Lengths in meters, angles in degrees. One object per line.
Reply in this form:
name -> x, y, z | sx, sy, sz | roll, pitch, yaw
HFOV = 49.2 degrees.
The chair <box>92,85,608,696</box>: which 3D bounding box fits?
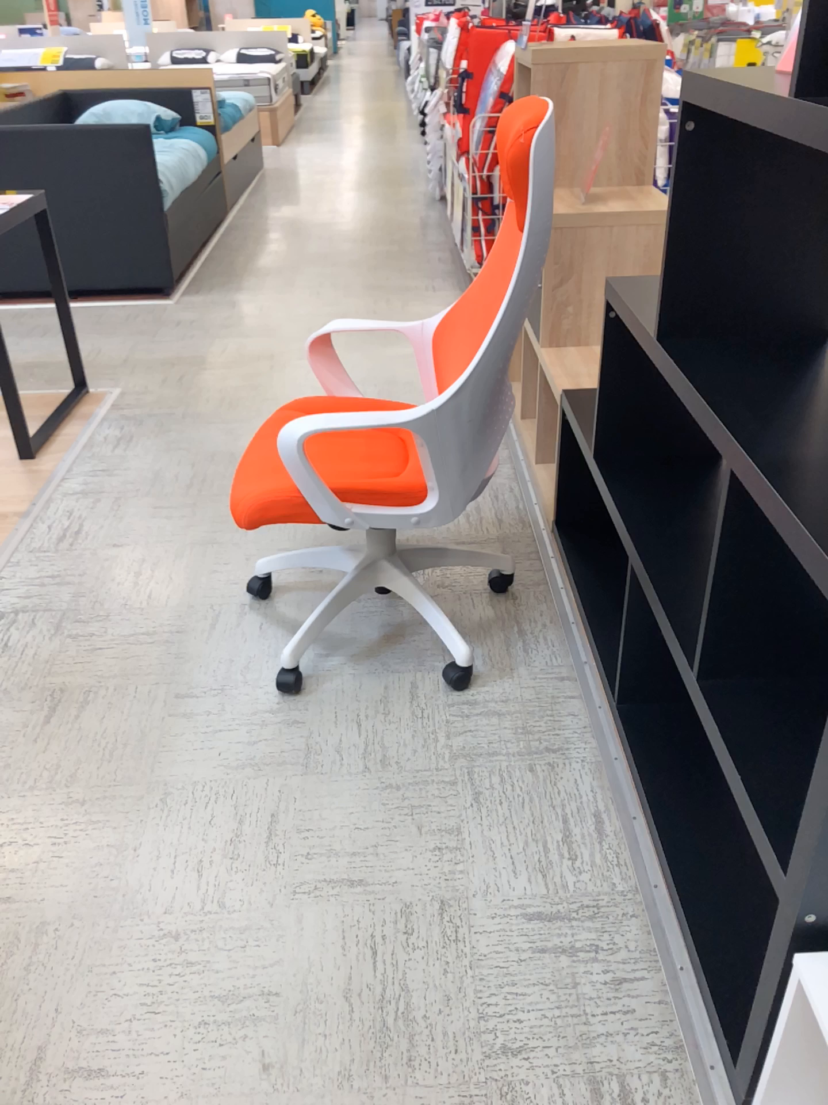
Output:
chair -> -0.068, -0.338, 1.868 | 0.750, 1.054, 0.684 | 0, 31, 3
